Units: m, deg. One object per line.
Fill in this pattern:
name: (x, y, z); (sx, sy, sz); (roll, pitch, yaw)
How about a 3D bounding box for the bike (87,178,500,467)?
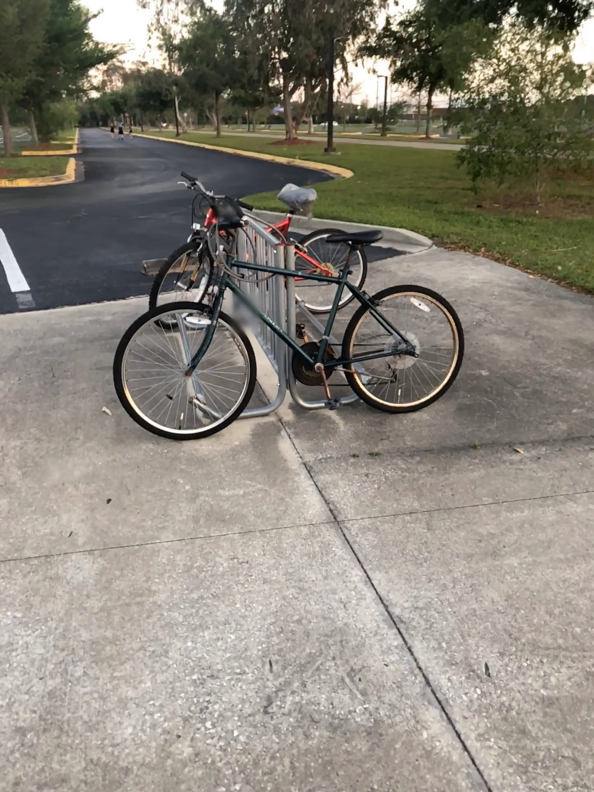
bike: (0.006, -0.412, 3.128); (1.750, 1.104, 0.587); (-7, 23, -13)
